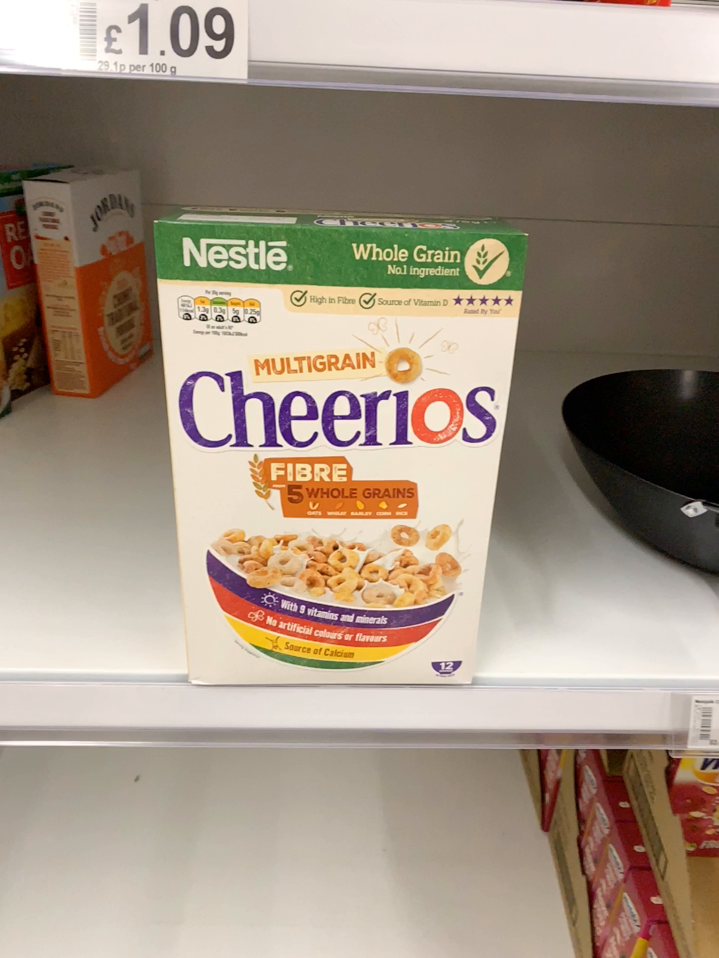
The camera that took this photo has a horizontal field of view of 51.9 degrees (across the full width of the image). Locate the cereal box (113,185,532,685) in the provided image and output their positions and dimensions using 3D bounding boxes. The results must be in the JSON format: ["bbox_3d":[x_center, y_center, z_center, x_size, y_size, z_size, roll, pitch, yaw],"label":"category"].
[{"bbox_3d":[-0.024,-0.016,0.444,0.200,0.288,0.071,1,24,-4],"label":"cereal box"}]
